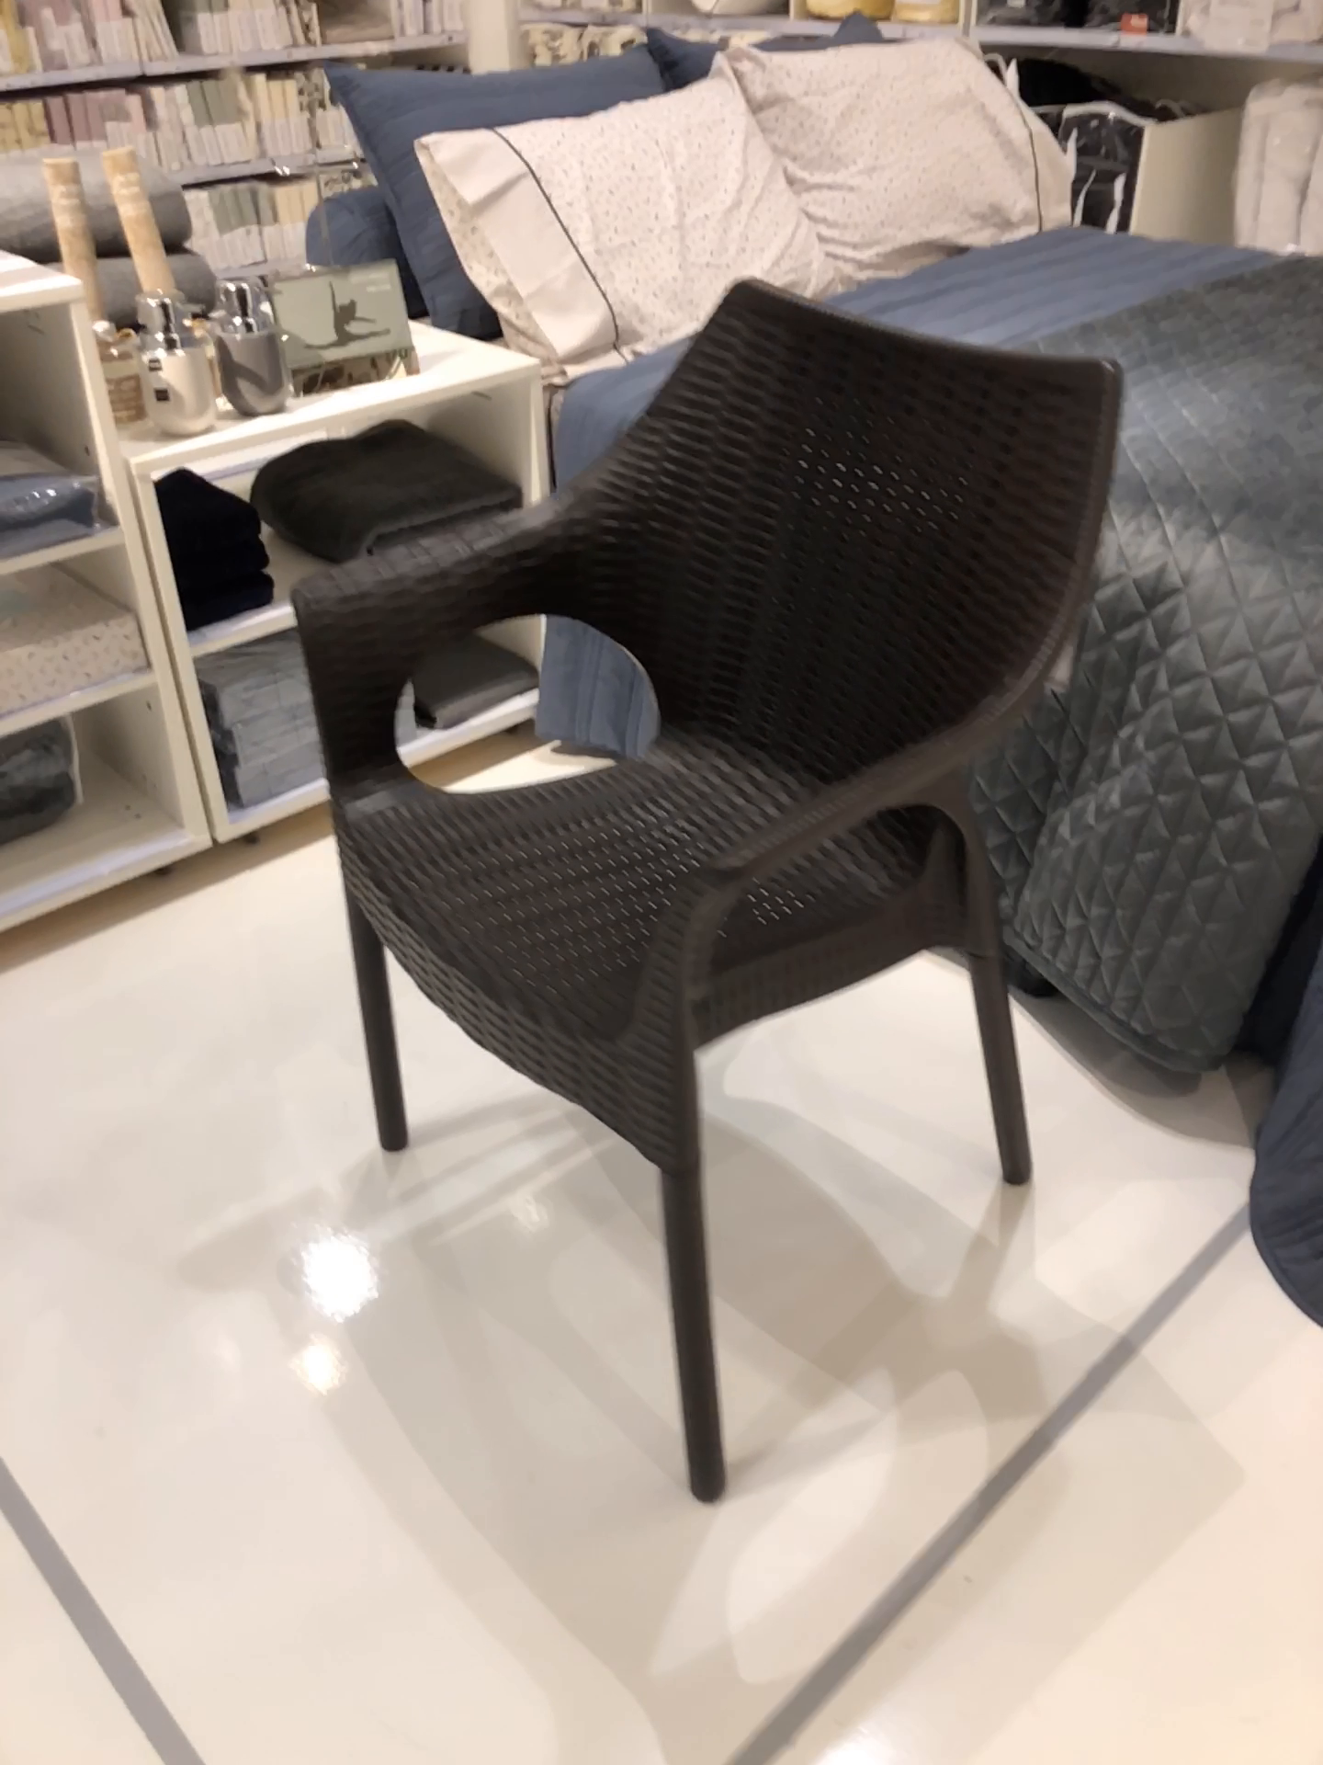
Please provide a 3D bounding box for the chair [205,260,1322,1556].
[{"bbox_3d":[0.078,-0.037,1.233,0.572,0.764,0.593,-24,39,-30],"label":"chair"}]
